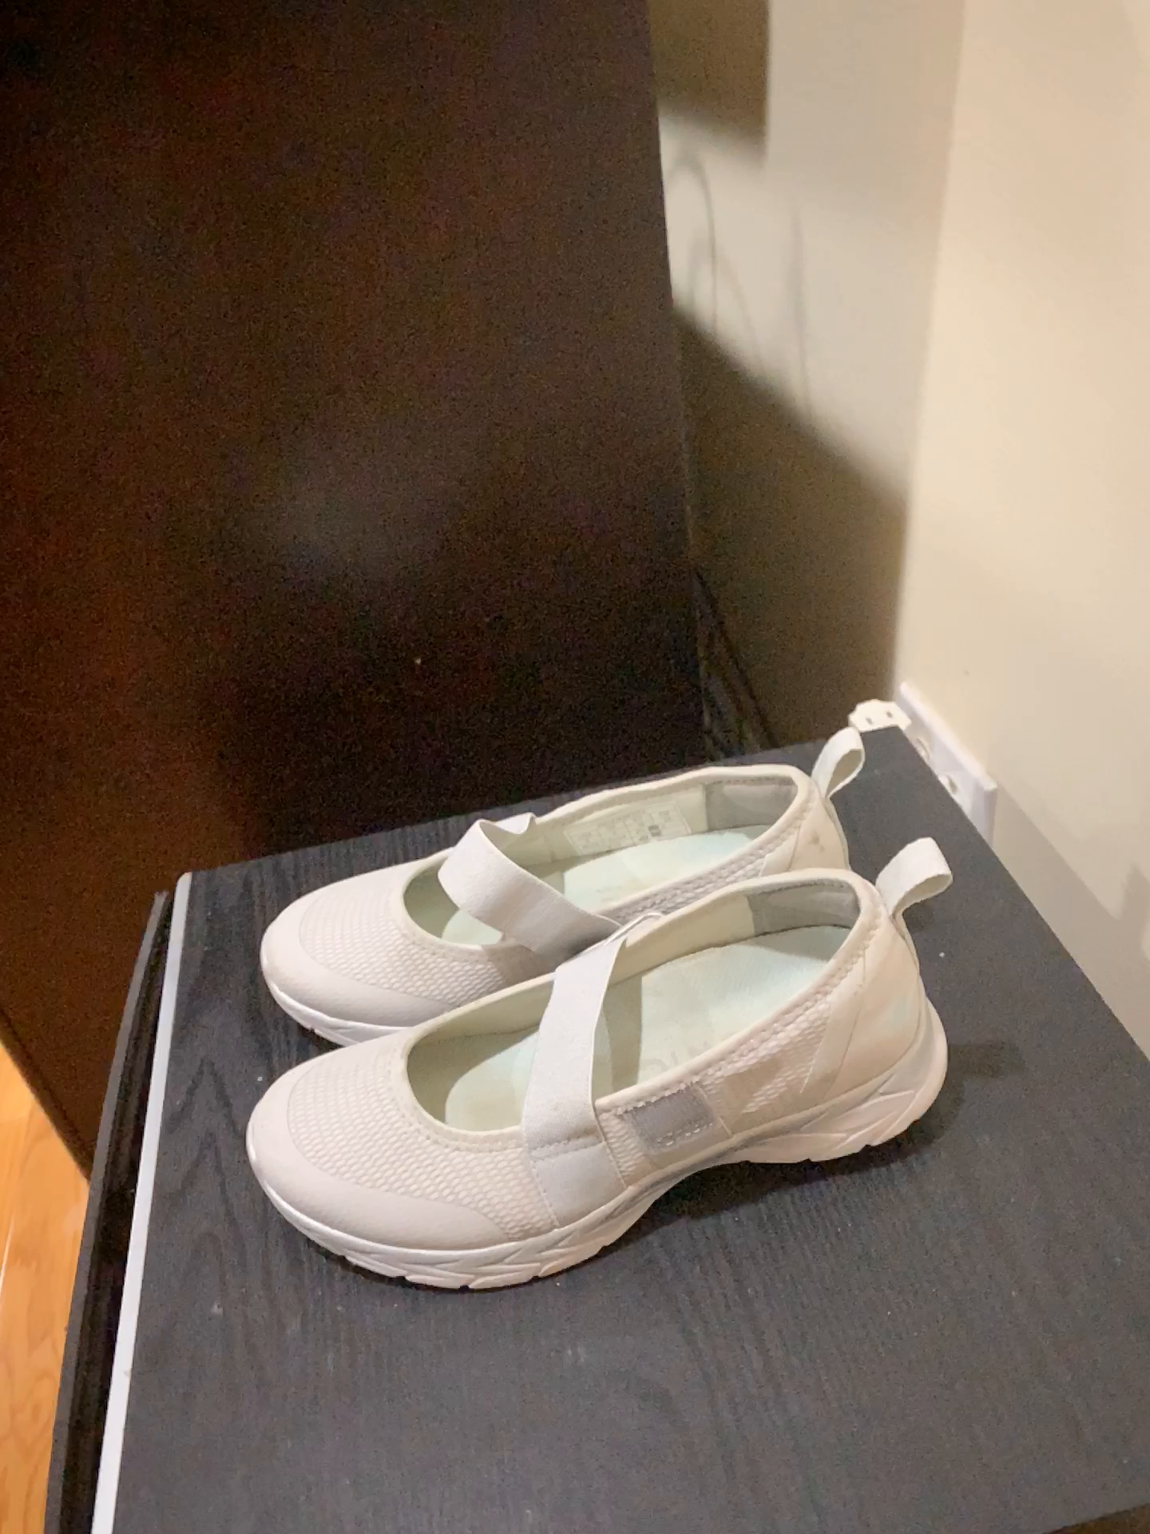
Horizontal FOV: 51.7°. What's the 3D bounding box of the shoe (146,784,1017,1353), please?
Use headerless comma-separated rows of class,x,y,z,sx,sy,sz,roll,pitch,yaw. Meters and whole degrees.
shoe,0.002,0.097,0.400,0.249,0.093,0.103,-11,36,-3

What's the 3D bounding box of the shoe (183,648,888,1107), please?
shoe,-0.013,0.041,0.479,0.249,0.093,0.103,-11,36,-3
